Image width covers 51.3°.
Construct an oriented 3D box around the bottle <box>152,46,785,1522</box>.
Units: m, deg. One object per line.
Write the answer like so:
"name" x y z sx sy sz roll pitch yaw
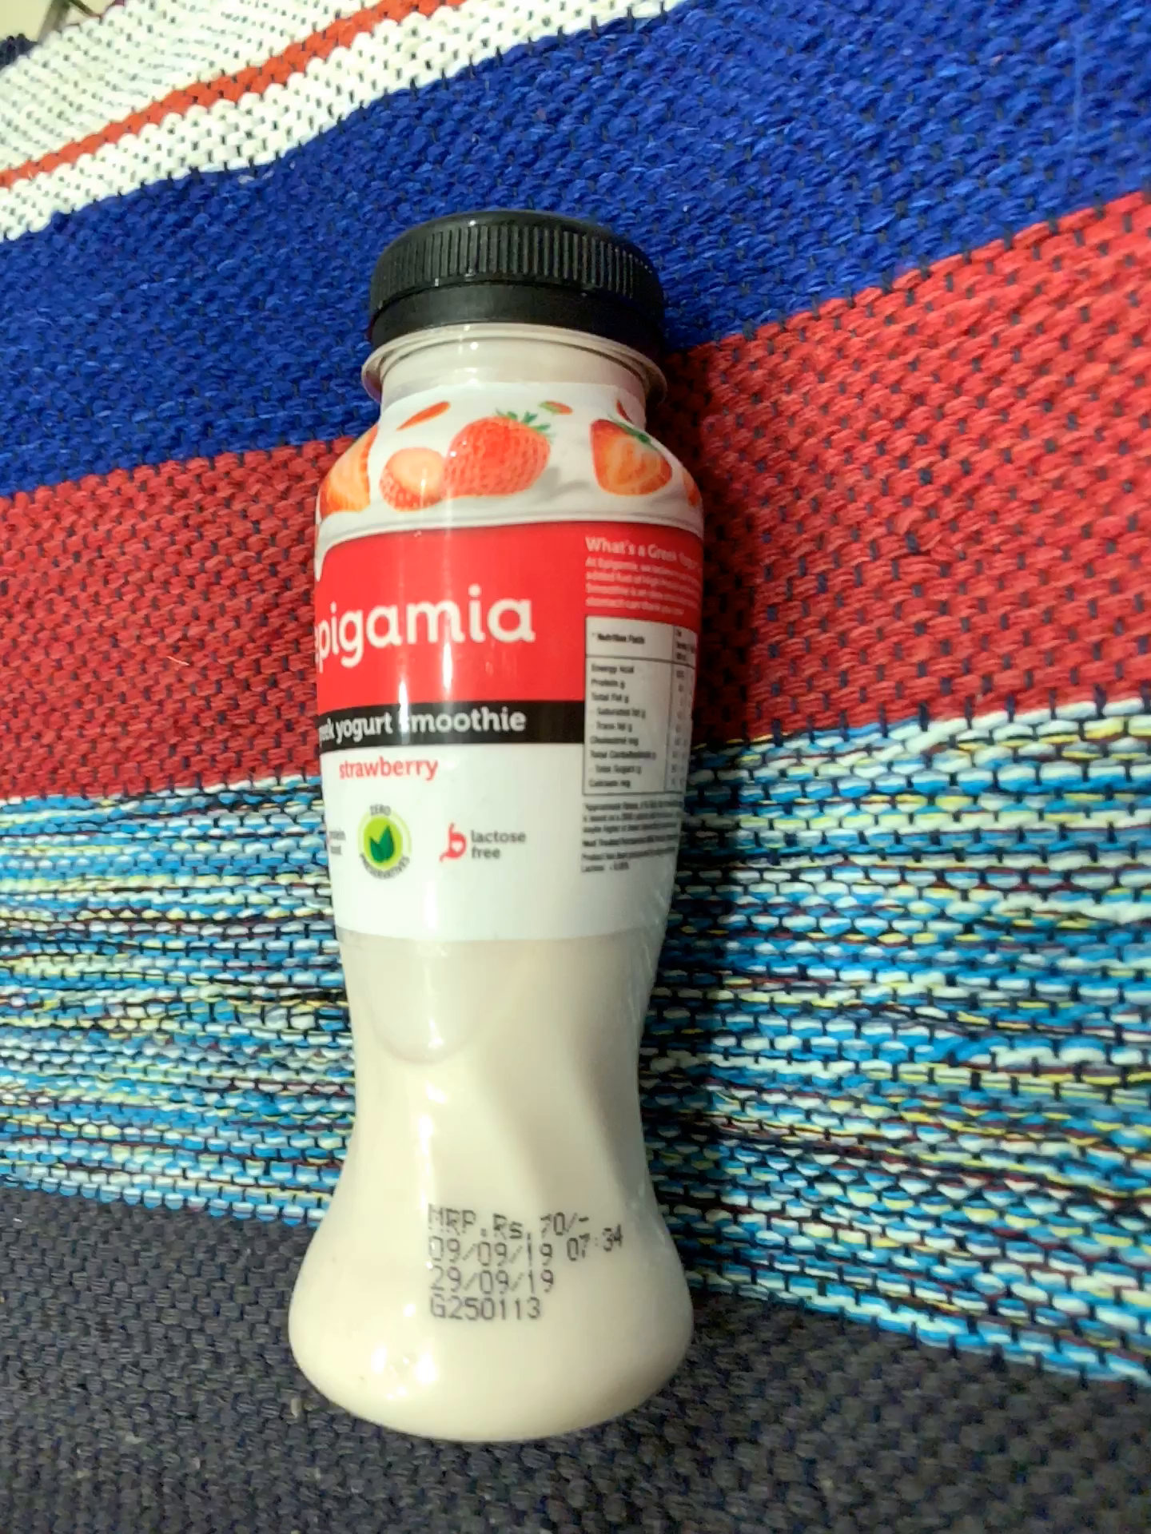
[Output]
"bottle" -0.010 0.000 0.165 0.060 0.050 0.160 -1 82 29
